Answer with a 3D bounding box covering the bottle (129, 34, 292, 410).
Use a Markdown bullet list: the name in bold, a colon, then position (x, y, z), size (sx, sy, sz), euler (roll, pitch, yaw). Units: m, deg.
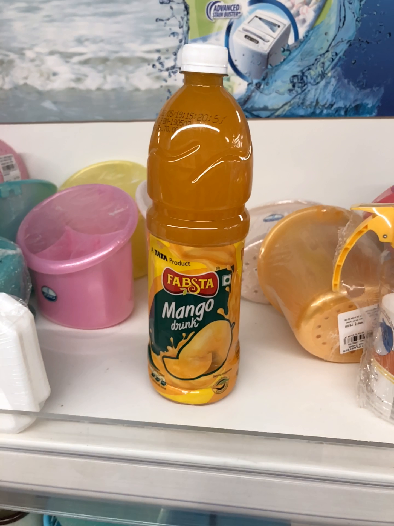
- **bottle**: position (0.003, -0.023, 0.331), size (0.090, 0.258, 0.081), euler (5, 24, 3)
